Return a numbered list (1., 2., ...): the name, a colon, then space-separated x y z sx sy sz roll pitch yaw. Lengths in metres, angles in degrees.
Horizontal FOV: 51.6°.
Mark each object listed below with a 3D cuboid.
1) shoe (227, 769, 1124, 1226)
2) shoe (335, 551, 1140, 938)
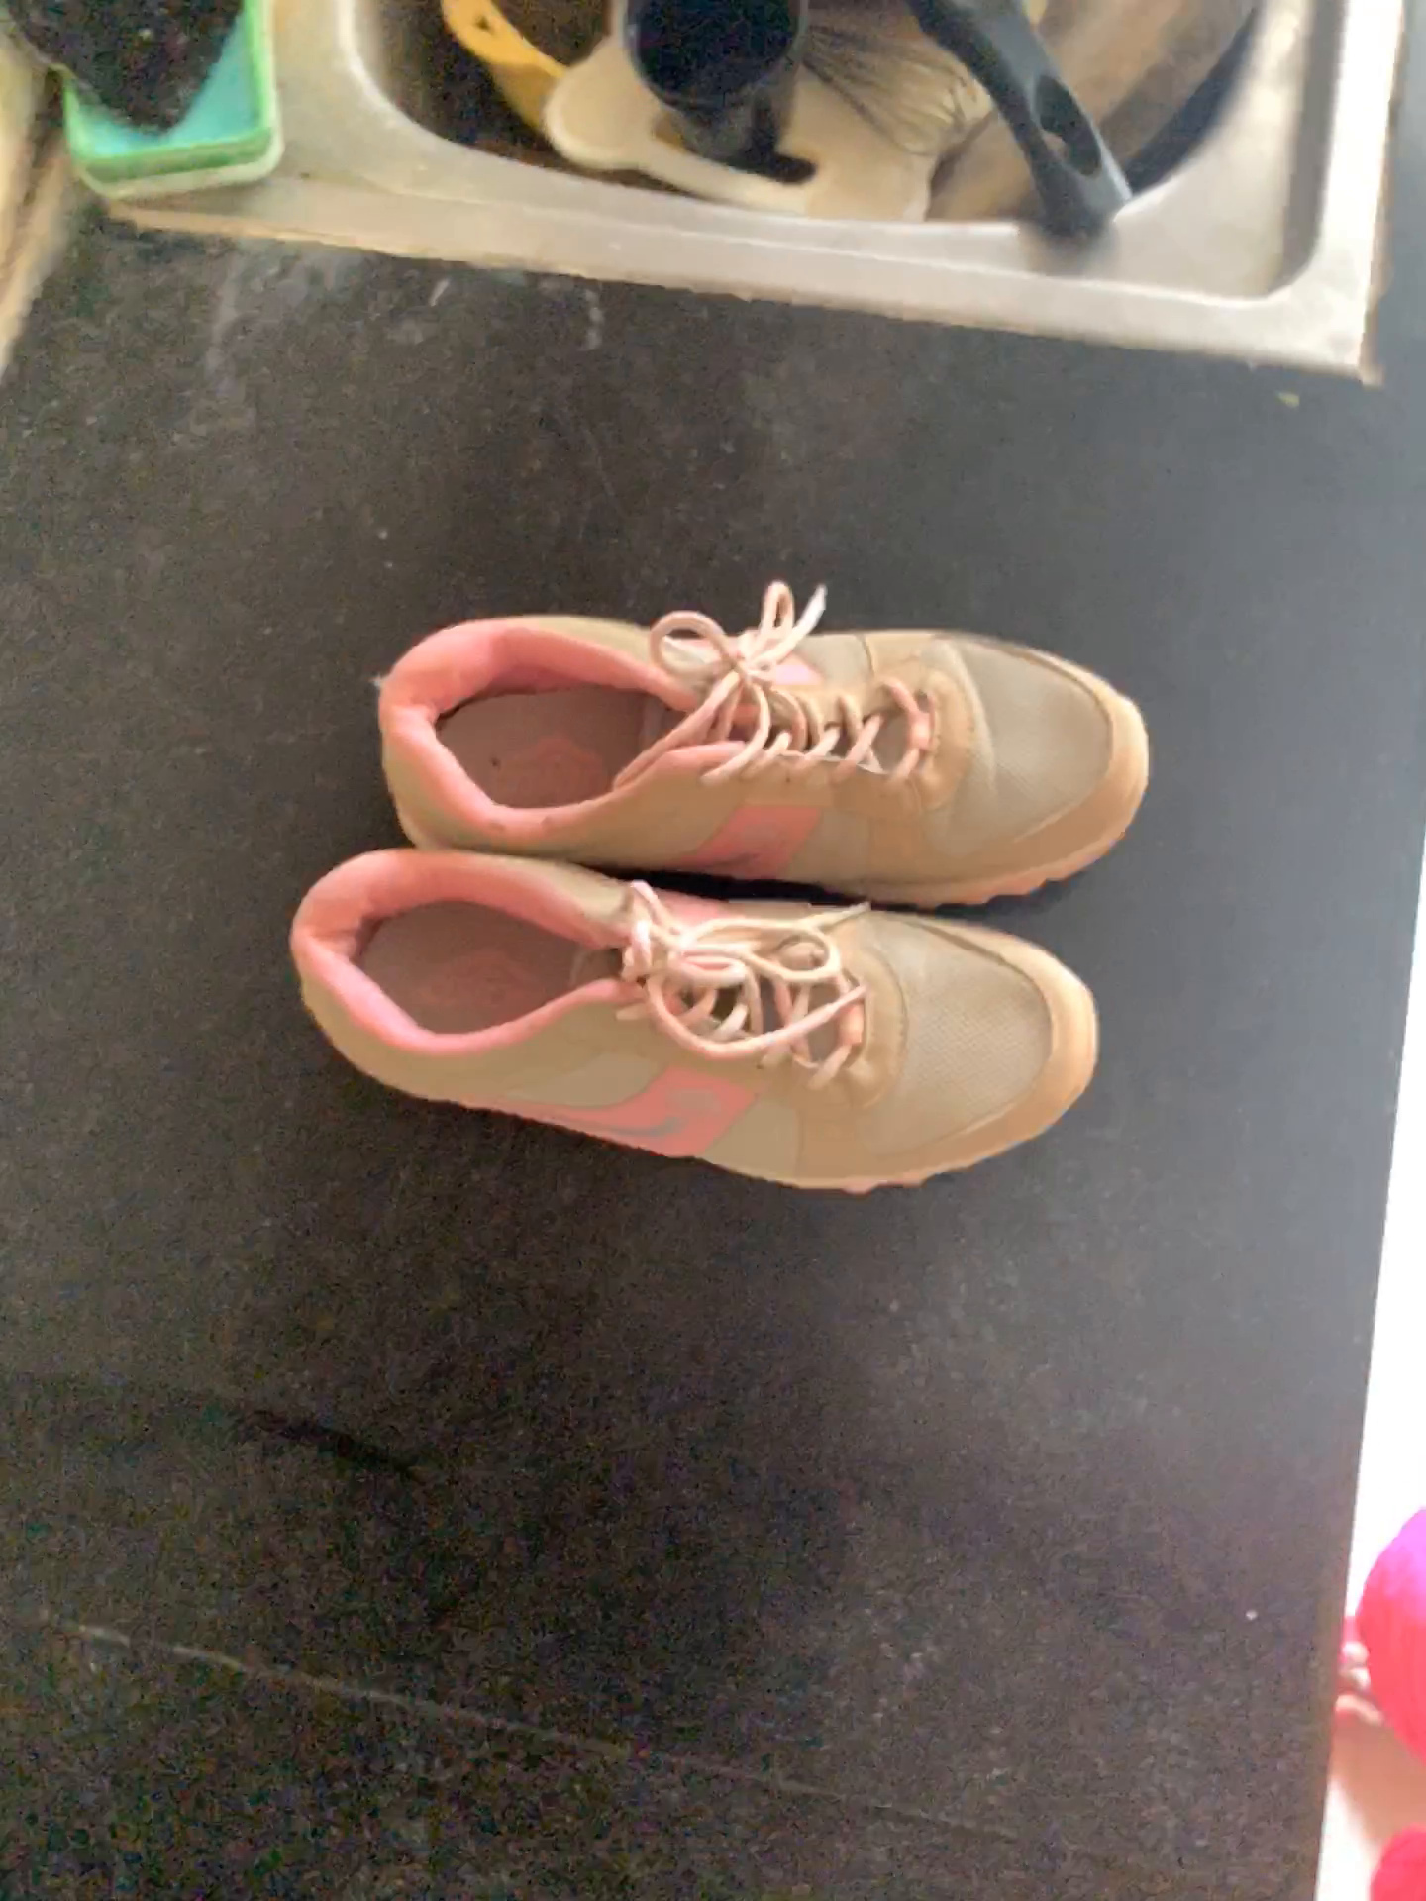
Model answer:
1. shoe: -0.008 0.019 0.461 0.240 0.100 0.100 7 79 5
2. shoe: 0.010 -0.062 0.478 0.230 0.100 0.090 2 79 4
